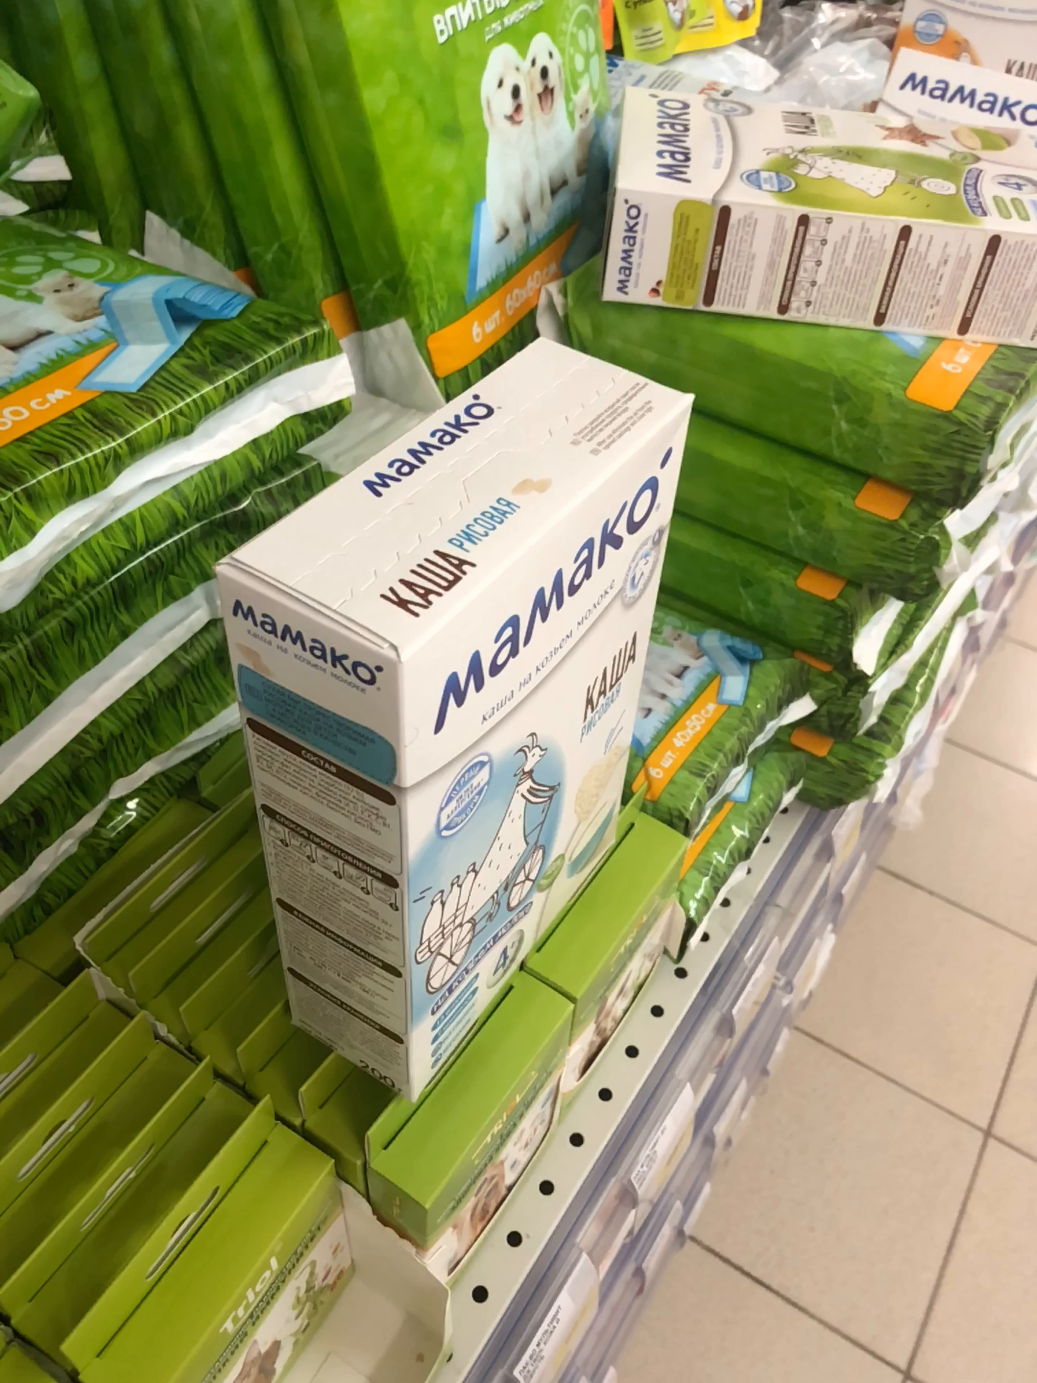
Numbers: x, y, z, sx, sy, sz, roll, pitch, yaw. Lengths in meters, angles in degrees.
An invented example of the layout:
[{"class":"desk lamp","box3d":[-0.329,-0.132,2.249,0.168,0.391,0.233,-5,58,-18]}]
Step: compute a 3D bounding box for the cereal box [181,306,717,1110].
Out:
[{"class":"cereal box","box3d":[-0.014,0.011,0.350,0.060,0.199,0.141,27,49,21]}]
